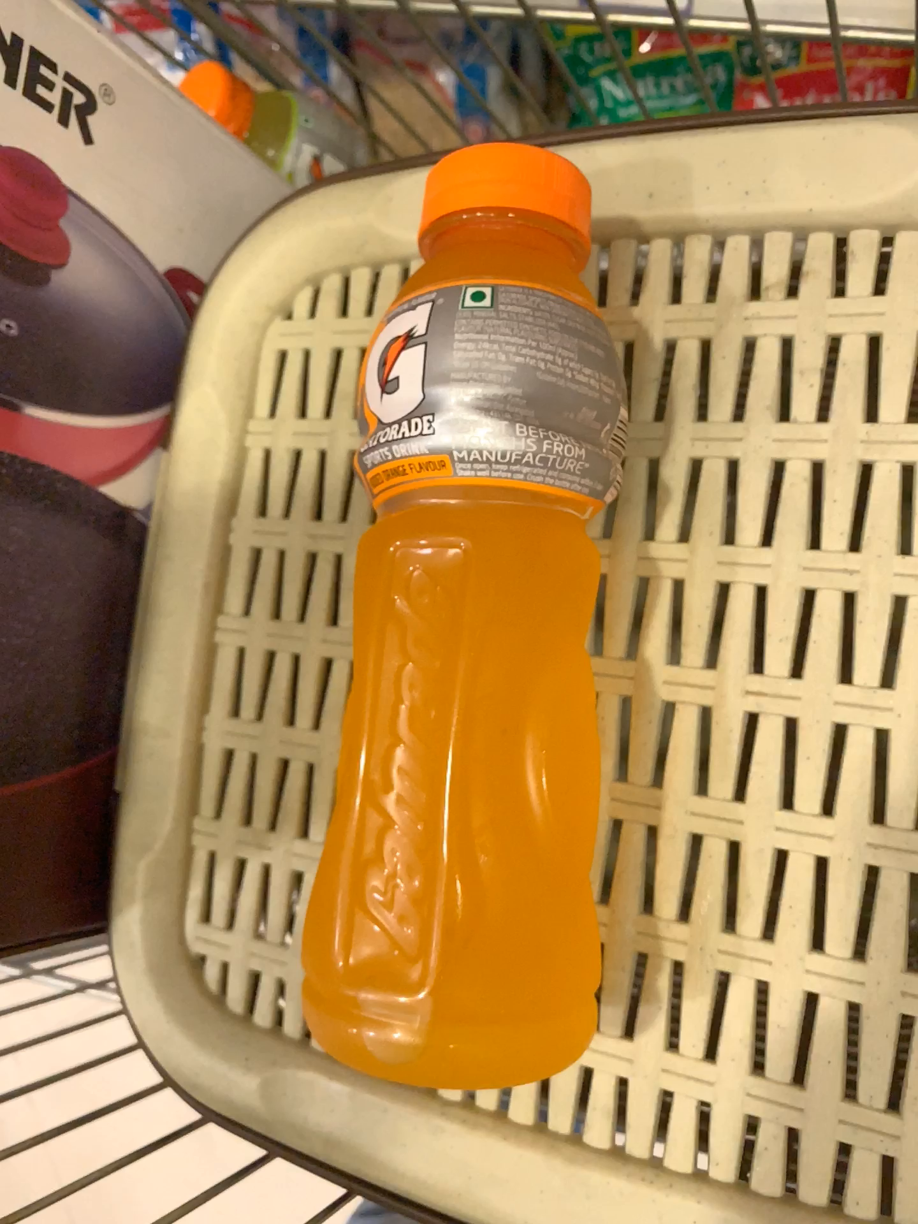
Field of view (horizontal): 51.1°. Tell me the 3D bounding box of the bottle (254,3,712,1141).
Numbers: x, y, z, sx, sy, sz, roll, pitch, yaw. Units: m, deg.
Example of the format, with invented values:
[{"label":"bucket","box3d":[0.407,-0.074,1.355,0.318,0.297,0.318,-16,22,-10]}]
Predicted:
[{"label":"bottle","box3d":[0.006,-0.009,0.217,0.060,0.060,0.210,-2,81,52]}]
